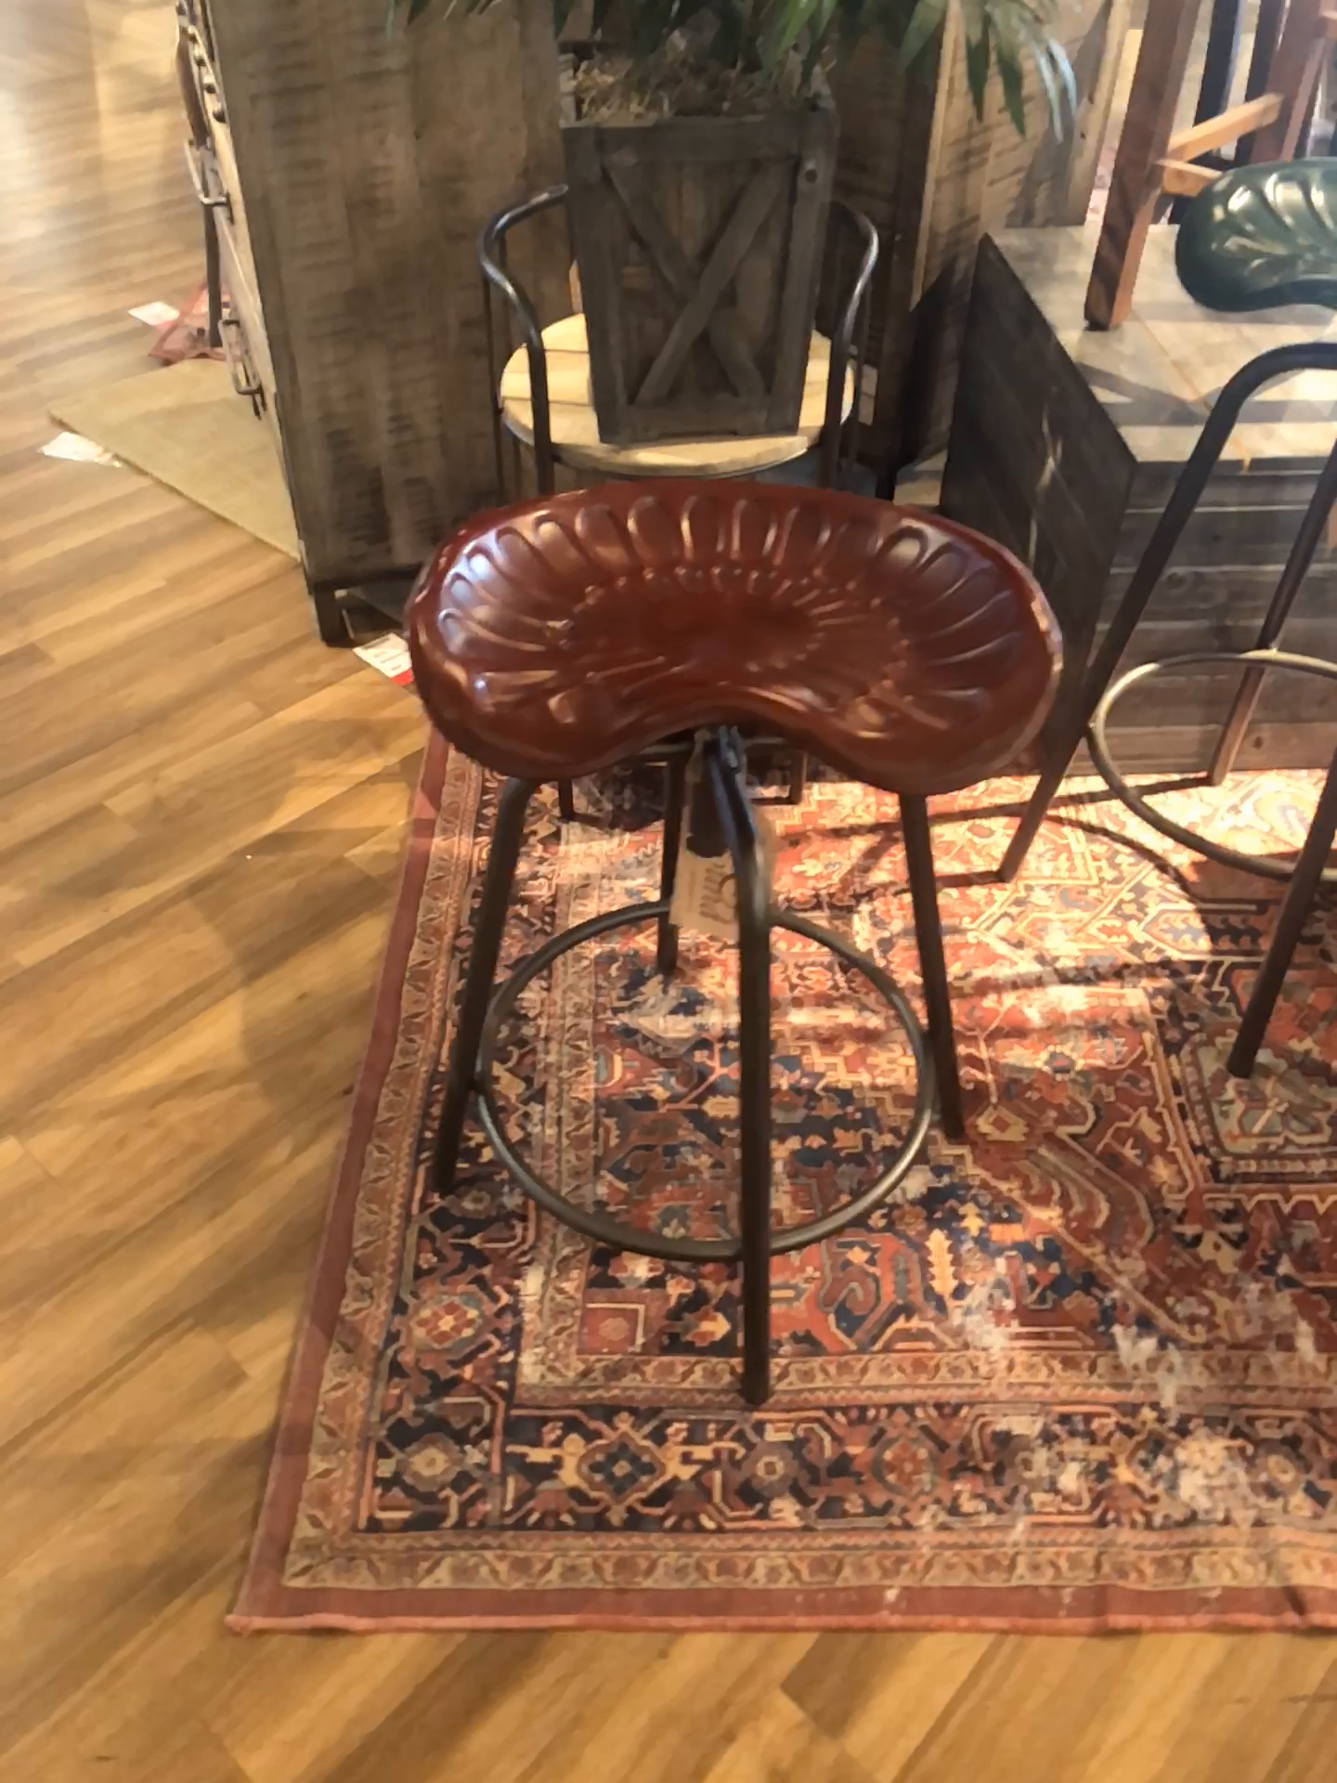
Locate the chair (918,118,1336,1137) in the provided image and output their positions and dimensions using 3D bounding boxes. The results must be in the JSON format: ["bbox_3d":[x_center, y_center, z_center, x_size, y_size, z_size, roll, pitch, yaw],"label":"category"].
[{"bbox_3d":[0.717,-0.292,1.522,0.611,0.736,0.538,-25,49,-26],"label":"chair"}]

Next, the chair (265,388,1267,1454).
[{"bbox_3d":[0.023,0.010,1.250,0.567,0.627,0.613,-4,43,-6],"label":"chair"}]
